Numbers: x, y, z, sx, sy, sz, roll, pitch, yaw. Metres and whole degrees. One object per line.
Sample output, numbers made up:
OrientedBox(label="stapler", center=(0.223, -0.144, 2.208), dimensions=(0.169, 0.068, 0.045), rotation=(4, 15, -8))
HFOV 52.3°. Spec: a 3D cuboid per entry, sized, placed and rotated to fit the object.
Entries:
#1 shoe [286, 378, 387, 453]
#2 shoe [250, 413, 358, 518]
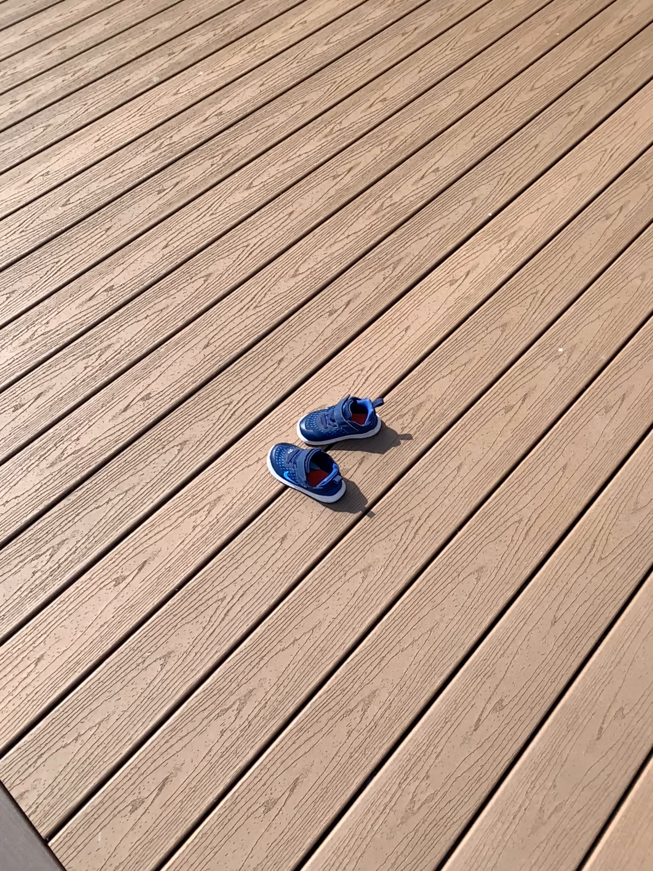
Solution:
OrientedBox(label="shoe", center=(0.018, -0.037, 1.230), dimensions=(0.170, 0.090, 0.080), rotation=(-8, 59, -2))
OrientedBox(label="shoe", center=(-0.037, 0.052, 1.171), dimensions=(0.170, 0.090, 0.080), rotation=(30, 65, 19))
